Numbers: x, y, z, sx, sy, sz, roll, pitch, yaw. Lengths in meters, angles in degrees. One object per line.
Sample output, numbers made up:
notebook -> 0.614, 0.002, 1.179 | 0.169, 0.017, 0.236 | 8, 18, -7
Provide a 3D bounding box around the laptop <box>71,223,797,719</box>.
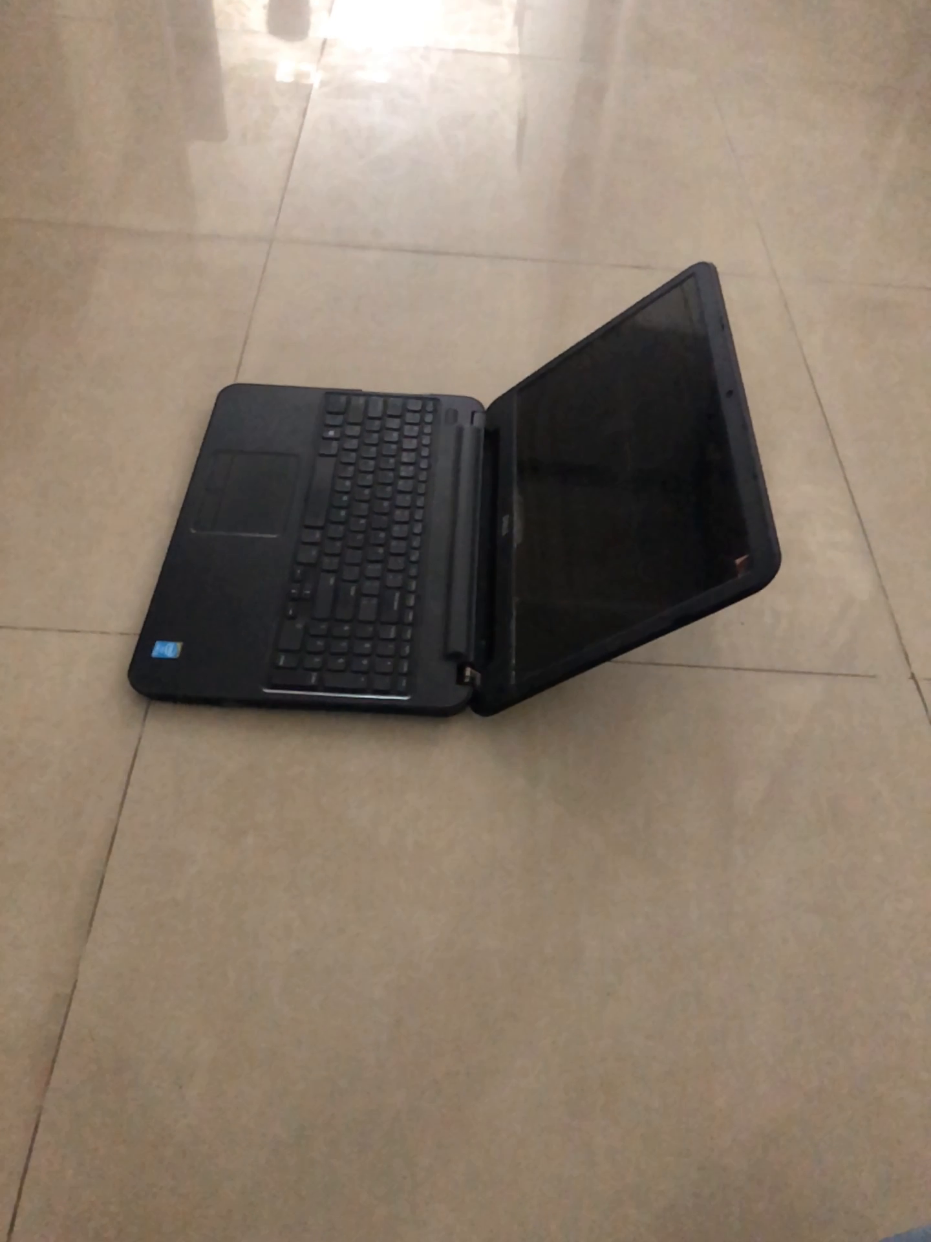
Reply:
laptop -> -0.016, -0.128, 0.783 | 0.427, 0.163, 0.359 | 3, 49, 0
